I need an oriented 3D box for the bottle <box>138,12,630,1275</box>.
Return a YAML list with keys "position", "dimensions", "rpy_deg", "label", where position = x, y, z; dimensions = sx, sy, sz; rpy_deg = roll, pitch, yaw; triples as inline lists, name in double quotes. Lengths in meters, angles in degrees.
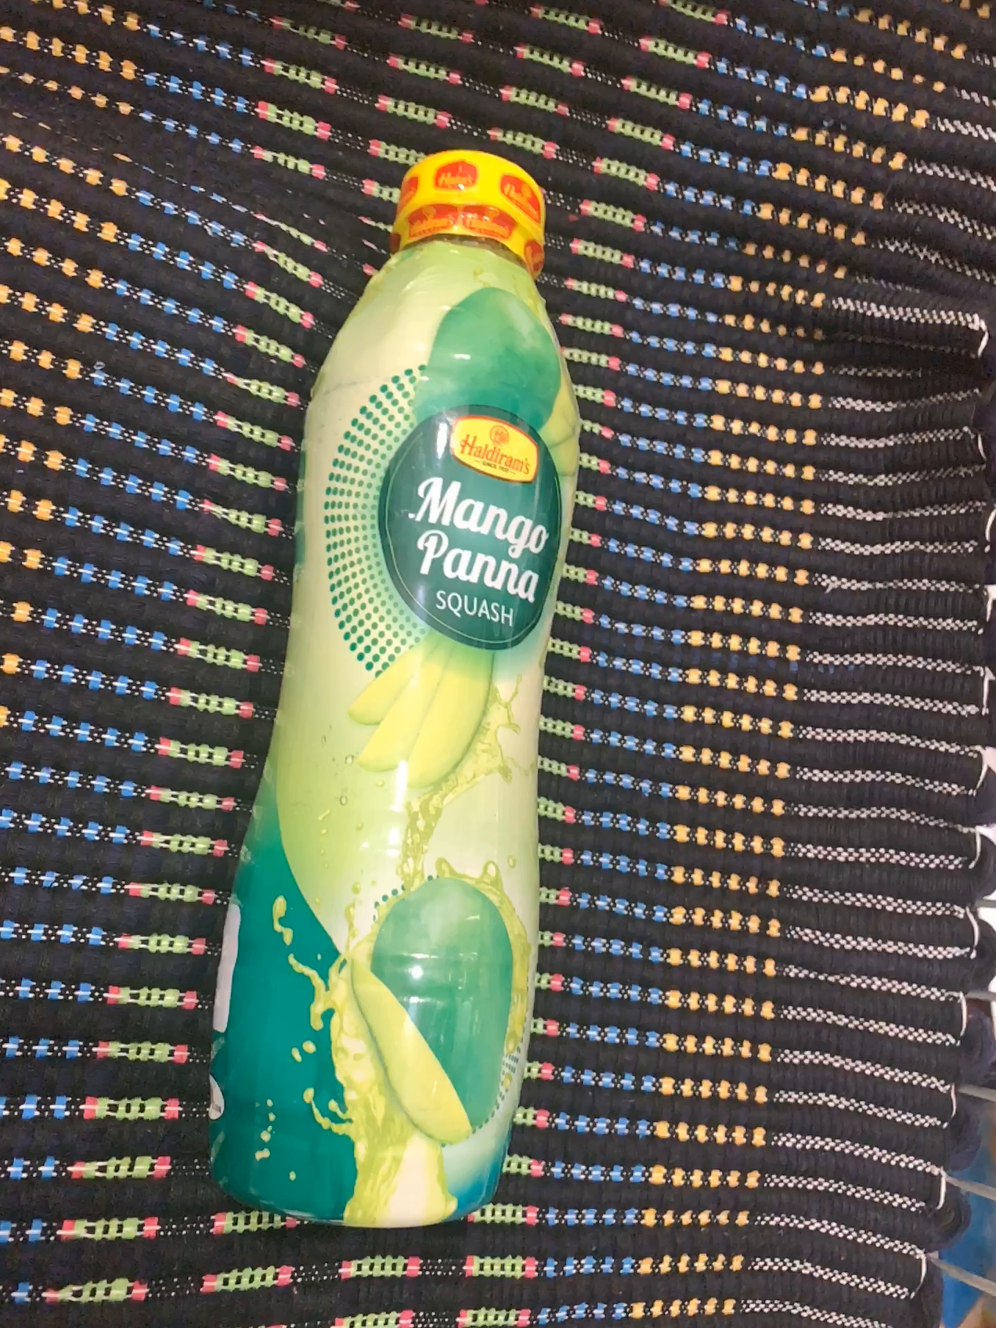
- position: [-0.021, -0.013, 0.251]
  dimensions: [0.070, 0.050, 0.270]
  rpy_deg: [14, 74, -29]
  label: "bottle"
